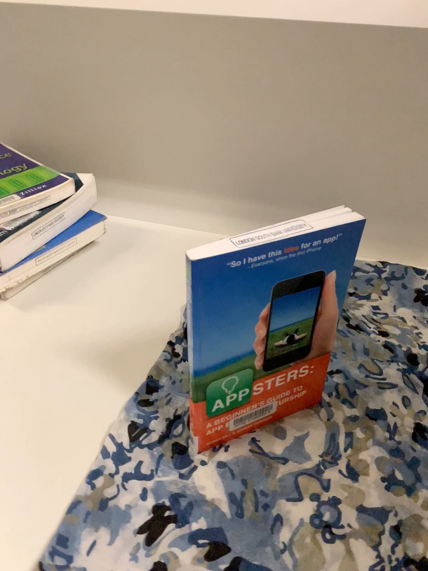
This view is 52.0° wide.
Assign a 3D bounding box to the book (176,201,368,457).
[{"bbox_3d":[0.042,0.043,0.358,0.140,0.203,0.024,-16,40,-22],"label":"book"}]
